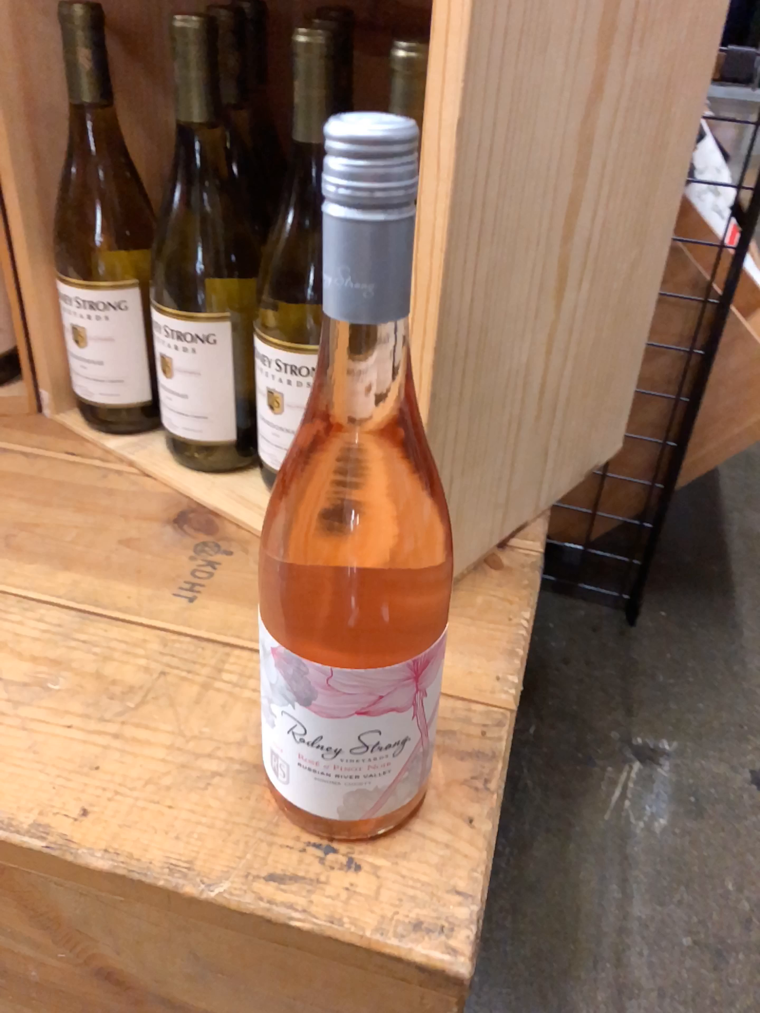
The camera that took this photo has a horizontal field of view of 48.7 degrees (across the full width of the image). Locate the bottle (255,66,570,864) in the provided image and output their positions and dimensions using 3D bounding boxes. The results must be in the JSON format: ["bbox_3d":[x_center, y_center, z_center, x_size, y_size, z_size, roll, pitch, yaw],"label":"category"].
[{"bbox_3d":[0.002,0.007,0.331,0.080,0.309,0.082,3,33,-2],"label":"bottle"}]
